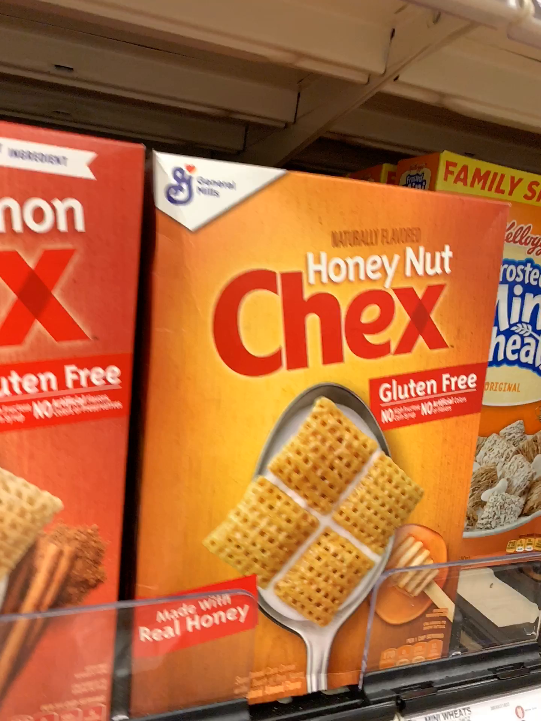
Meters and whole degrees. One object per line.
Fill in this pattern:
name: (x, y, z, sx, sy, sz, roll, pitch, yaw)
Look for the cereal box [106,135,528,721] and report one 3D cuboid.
cereal box: (0.022, 0.042, 0.318, 0.200, 0.279, 0.060, 2, 11, -22)
